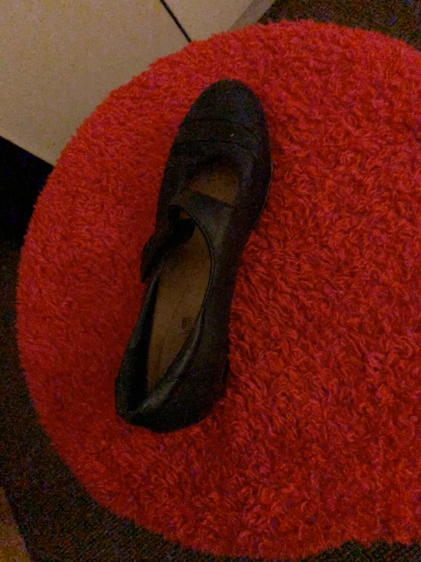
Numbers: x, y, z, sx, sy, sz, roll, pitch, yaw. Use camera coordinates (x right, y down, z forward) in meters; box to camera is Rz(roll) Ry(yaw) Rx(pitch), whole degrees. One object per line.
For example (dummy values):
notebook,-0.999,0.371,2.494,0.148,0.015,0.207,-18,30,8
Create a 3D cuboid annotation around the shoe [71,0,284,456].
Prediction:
shoe,-0.013,-0.038,0.302,0.093,0.080,0.275,0,78,26
